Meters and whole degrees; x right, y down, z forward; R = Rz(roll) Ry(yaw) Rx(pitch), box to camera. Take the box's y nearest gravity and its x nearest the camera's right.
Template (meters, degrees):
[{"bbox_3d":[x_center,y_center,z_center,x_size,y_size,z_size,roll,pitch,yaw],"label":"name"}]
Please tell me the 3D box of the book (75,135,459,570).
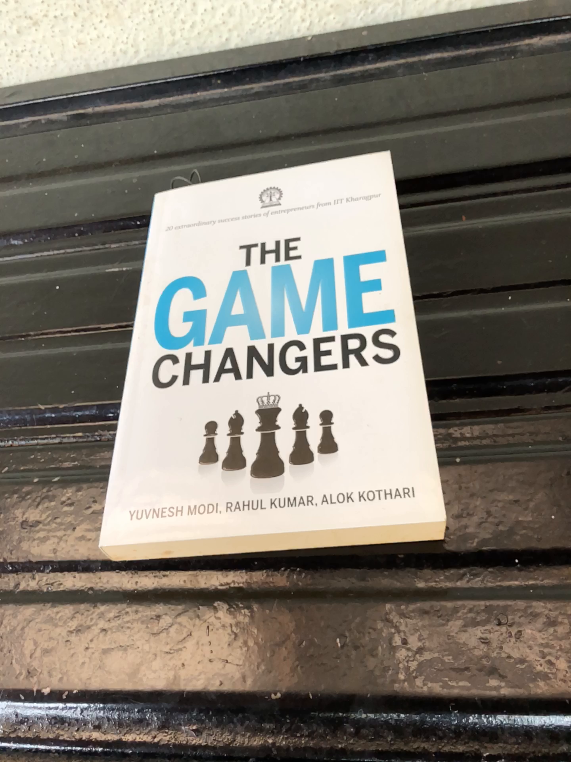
[{"bbox_3d":[-0.007,-0.022,0.276,0.130,0.030,0.190,-6,57,9],"label":"book"}]
